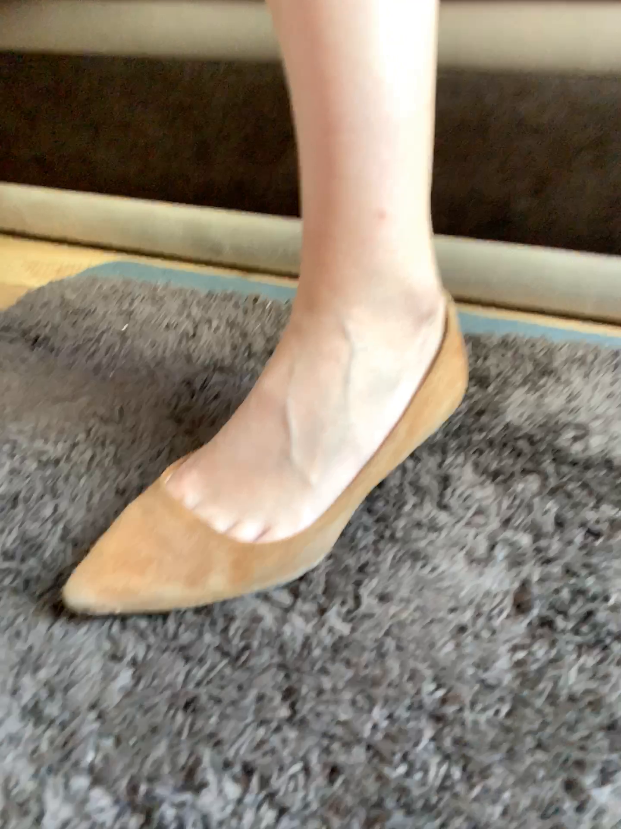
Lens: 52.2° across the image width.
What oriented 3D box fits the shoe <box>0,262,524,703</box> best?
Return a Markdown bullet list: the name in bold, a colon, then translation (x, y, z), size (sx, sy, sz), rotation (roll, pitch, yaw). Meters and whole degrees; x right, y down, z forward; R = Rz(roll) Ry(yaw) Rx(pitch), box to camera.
- **shoe**: translation (-0.014, 0.008, 0.310), size (0.251, 0.080, 0.090), rotation (-27, 43, -33)
